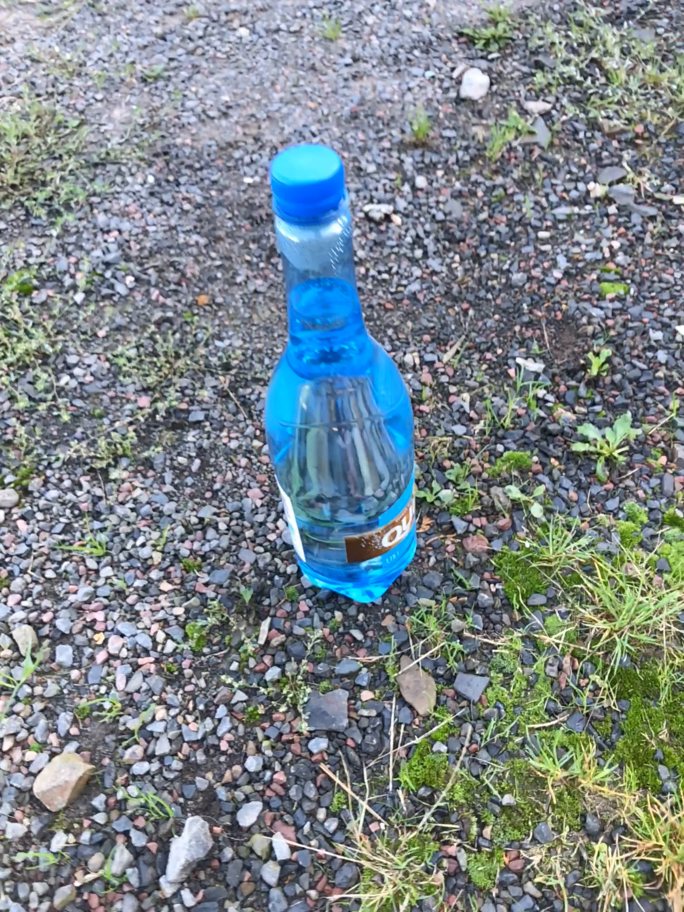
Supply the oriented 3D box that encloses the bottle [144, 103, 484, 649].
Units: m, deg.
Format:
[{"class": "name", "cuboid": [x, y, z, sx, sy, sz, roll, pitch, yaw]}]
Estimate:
[{"class": "bottle", "cuboid": [-0.002, -0.018, 0.423, 0.110, 0.298, 0.111, -1, 52, 1]}]
